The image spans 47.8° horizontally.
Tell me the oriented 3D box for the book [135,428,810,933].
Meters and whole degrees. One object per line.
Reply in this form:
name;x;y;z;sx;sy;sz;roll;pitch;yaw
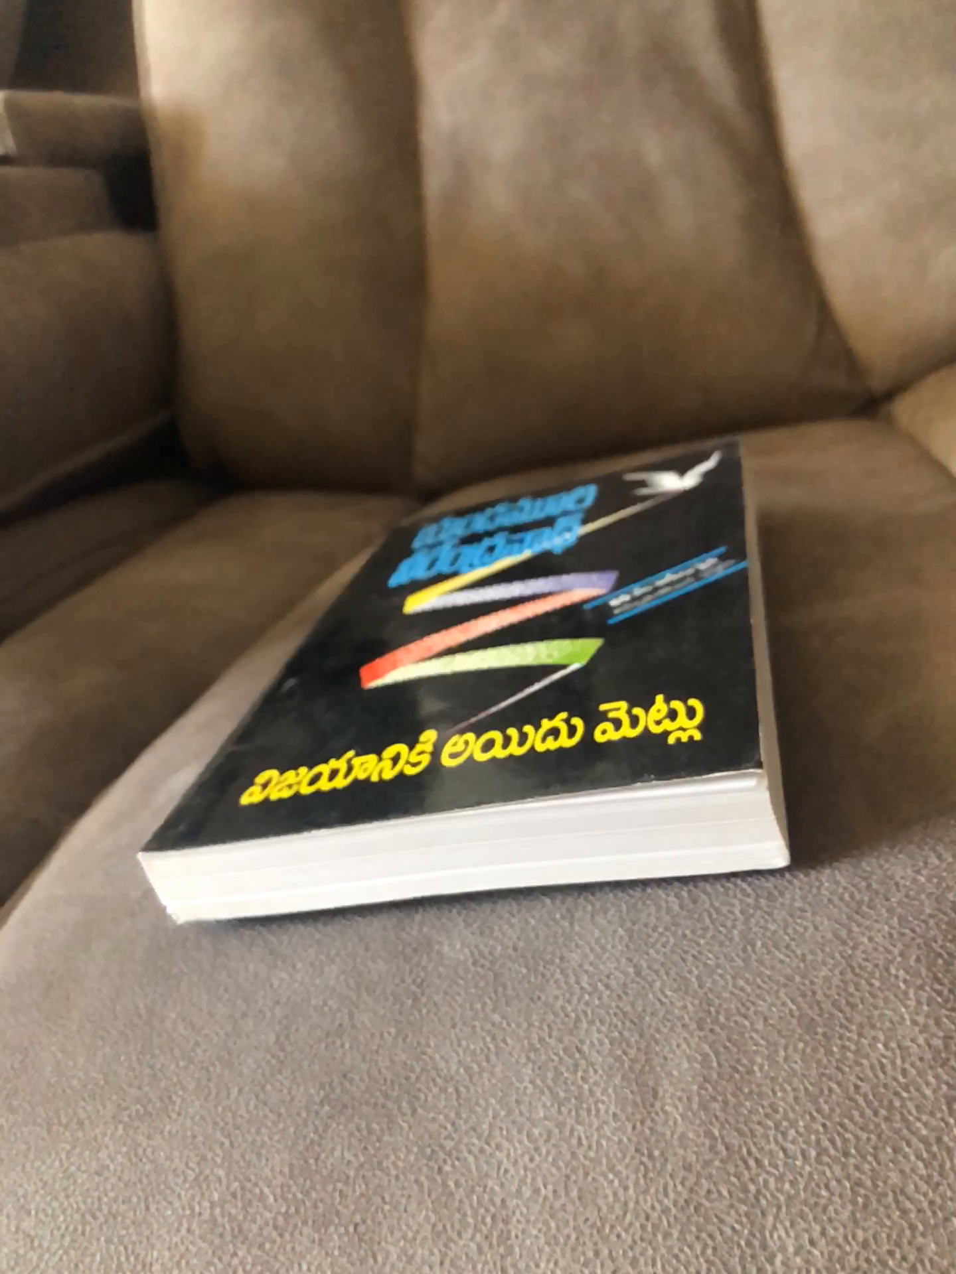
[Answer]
book;0.014;-0.002;0.319;0.144;0.026;0.213;-11;24;18
